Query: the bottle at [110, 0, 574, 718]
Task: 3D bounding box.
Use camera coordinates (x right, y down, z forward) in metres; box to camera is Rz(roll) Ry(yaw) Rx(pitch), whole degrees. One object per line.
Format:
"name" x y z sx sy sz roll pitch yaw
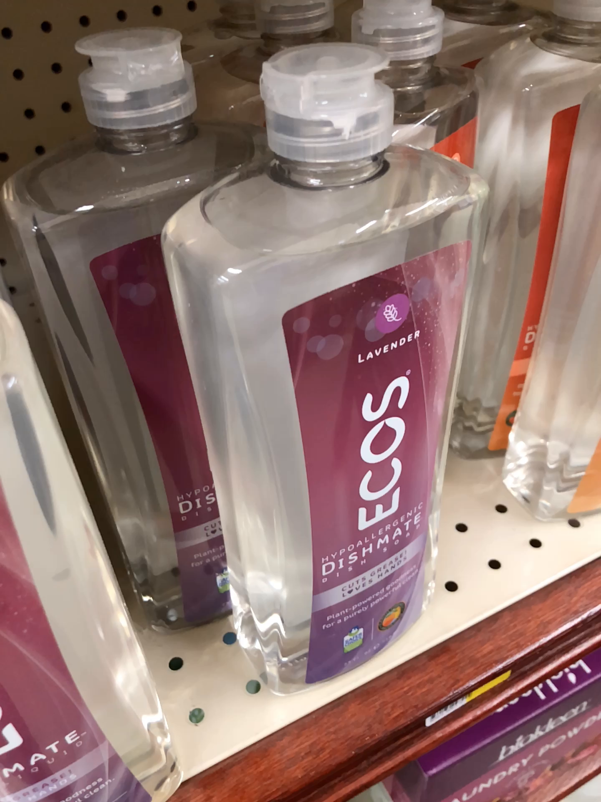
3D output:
"bottle" 0.012 0.010 0.228 0.090 0.244 0.048 -23 46 -22
